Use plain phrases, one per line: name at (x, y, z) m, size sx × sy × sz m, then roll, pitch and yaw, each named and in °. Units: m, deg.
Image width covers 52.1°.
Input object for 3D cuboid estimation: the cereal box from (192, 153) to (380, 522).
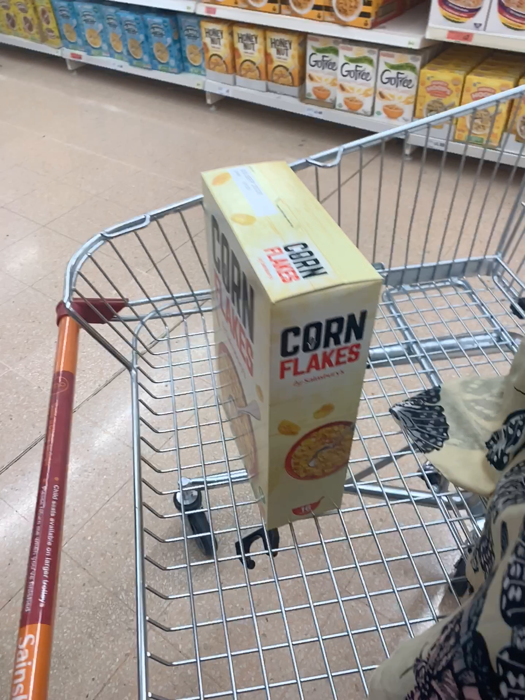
cereal box at (0.009, -0.005, 0.503) m, size 0.080 × 0.277 × 0.192 m, roll -14°, pitch 45°, yaw -13°
